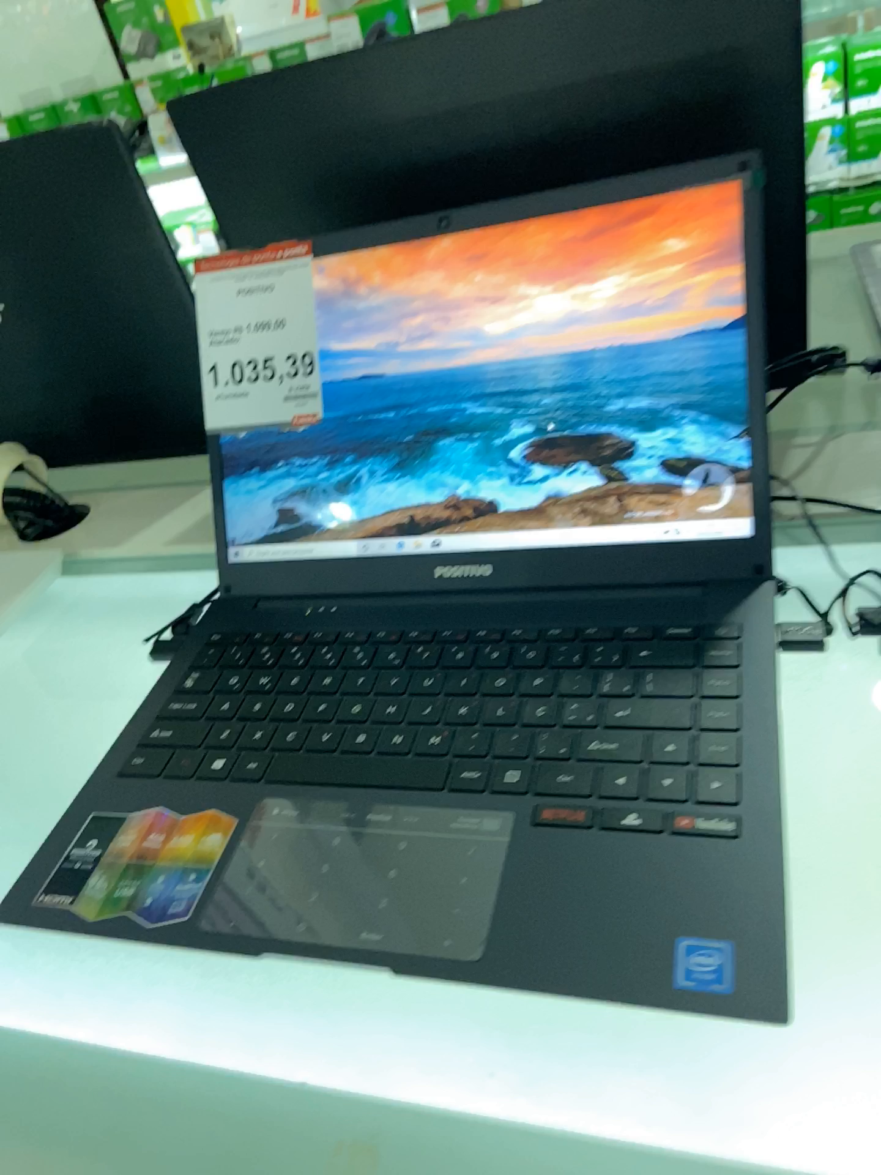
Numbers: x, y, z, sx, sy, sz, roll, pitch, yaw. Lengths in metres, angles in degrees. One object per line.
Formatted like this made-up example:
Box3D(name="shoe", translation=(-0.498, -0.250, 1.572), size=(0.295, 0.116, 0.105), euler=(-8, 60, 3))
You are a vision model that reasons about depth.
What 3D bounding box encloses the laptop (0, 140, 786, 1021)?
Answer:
Box3D(name="laptop", translation=(-0.022, -0.037, 0.431), size=(0.334, 0.175, 0.356), euler=(-2, 38, 21))
